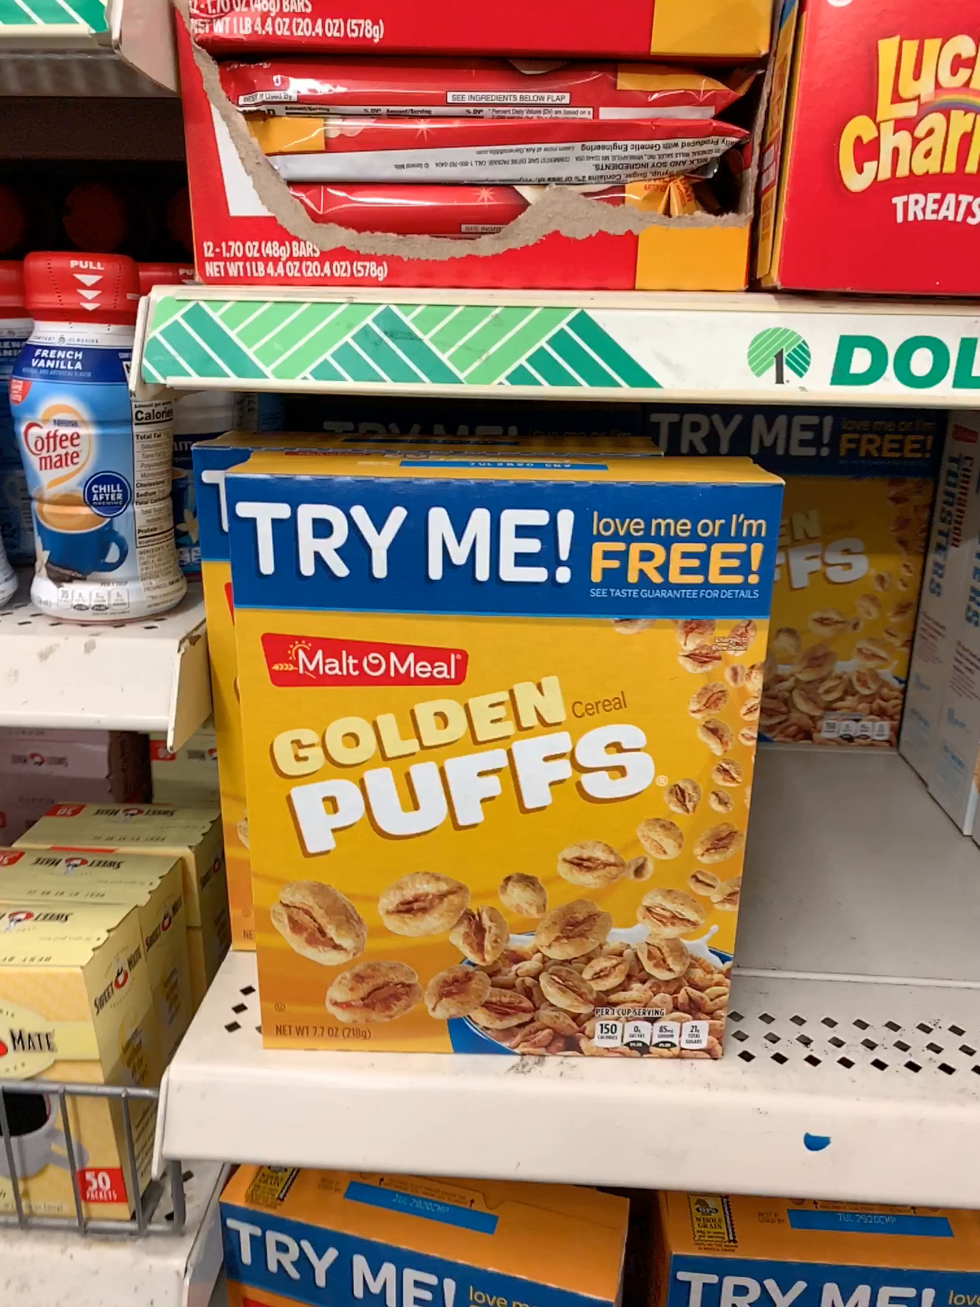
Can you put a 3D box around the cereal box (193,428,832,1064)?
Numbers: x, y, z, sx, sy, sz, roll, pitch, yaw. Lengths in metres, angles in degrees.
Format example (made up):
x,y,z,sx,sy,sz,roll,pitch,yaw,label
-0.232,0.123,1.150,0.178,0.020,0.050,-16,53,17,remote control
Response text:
x,y,z,sx,sy,sz,roll,pitch,yaw,label
0.006,0.035,0.364,0.190,0.219,0.060,1,19,1,cereal box
